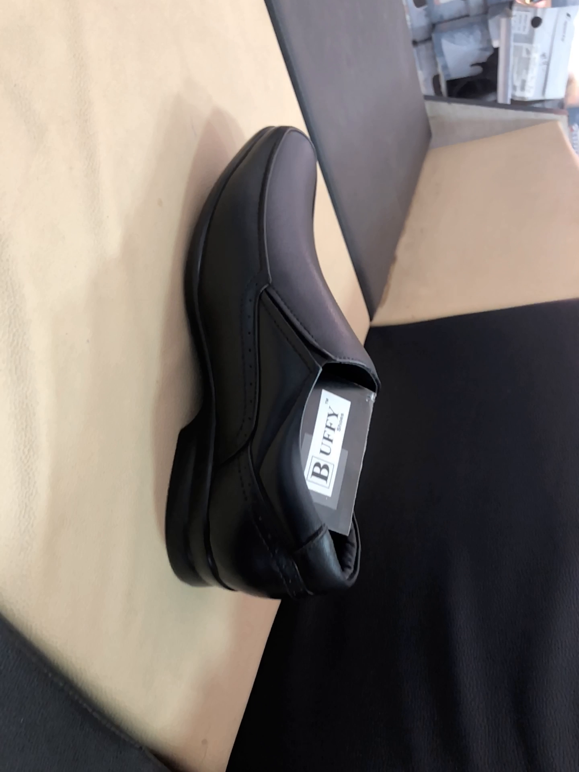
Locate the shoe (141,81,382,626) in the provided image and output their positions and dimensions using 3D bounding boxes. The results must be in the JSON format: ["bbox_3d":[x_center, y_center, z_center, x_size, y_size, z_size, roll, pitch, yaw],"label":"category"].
[{"bbox_3d":[-0.003,-0.015,0.374,0.111,0.069,0.280,33,58,-59],"label":"shoe"}]
